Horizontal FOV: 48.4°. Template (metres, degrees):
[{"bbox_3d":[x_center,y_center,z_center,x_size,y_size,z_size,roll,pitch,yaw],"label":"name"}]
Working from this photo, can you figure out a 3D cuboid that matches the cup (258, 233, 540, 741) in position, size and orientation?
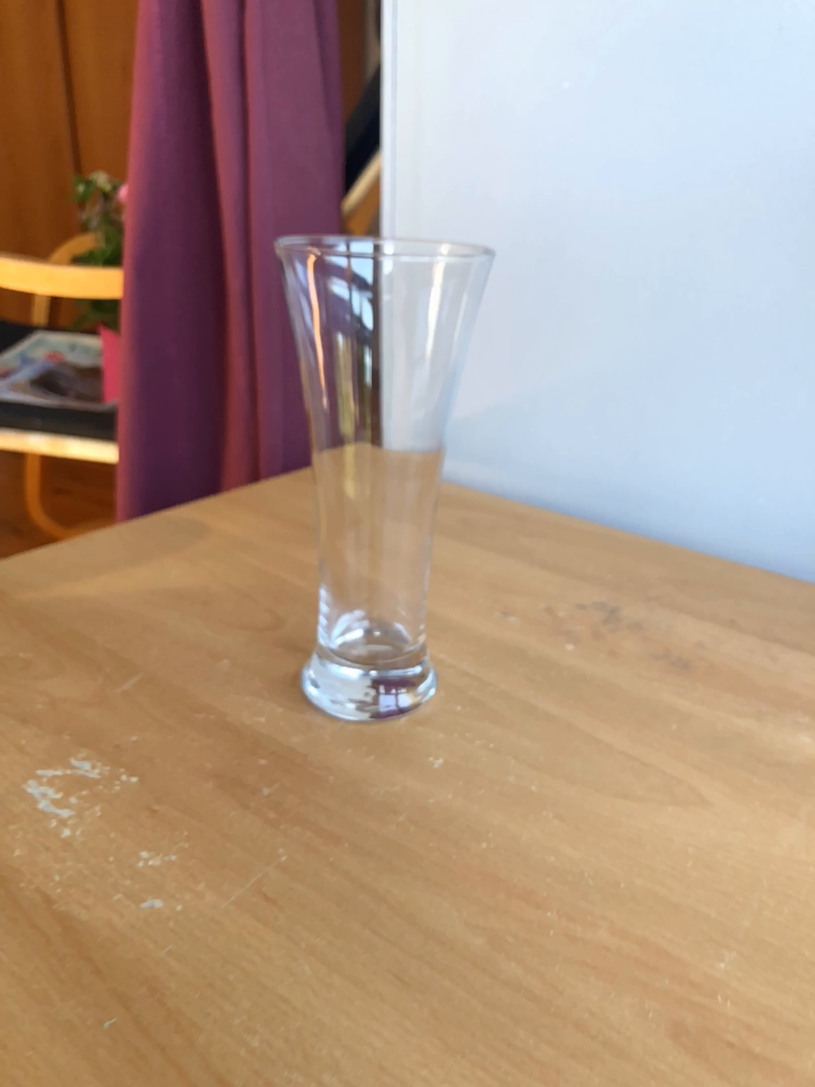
[{"bbox_3d":[-0.010,-0.023,0.339,0.082,0.168,0.077,2,23,-1],"label":"cup"}]
